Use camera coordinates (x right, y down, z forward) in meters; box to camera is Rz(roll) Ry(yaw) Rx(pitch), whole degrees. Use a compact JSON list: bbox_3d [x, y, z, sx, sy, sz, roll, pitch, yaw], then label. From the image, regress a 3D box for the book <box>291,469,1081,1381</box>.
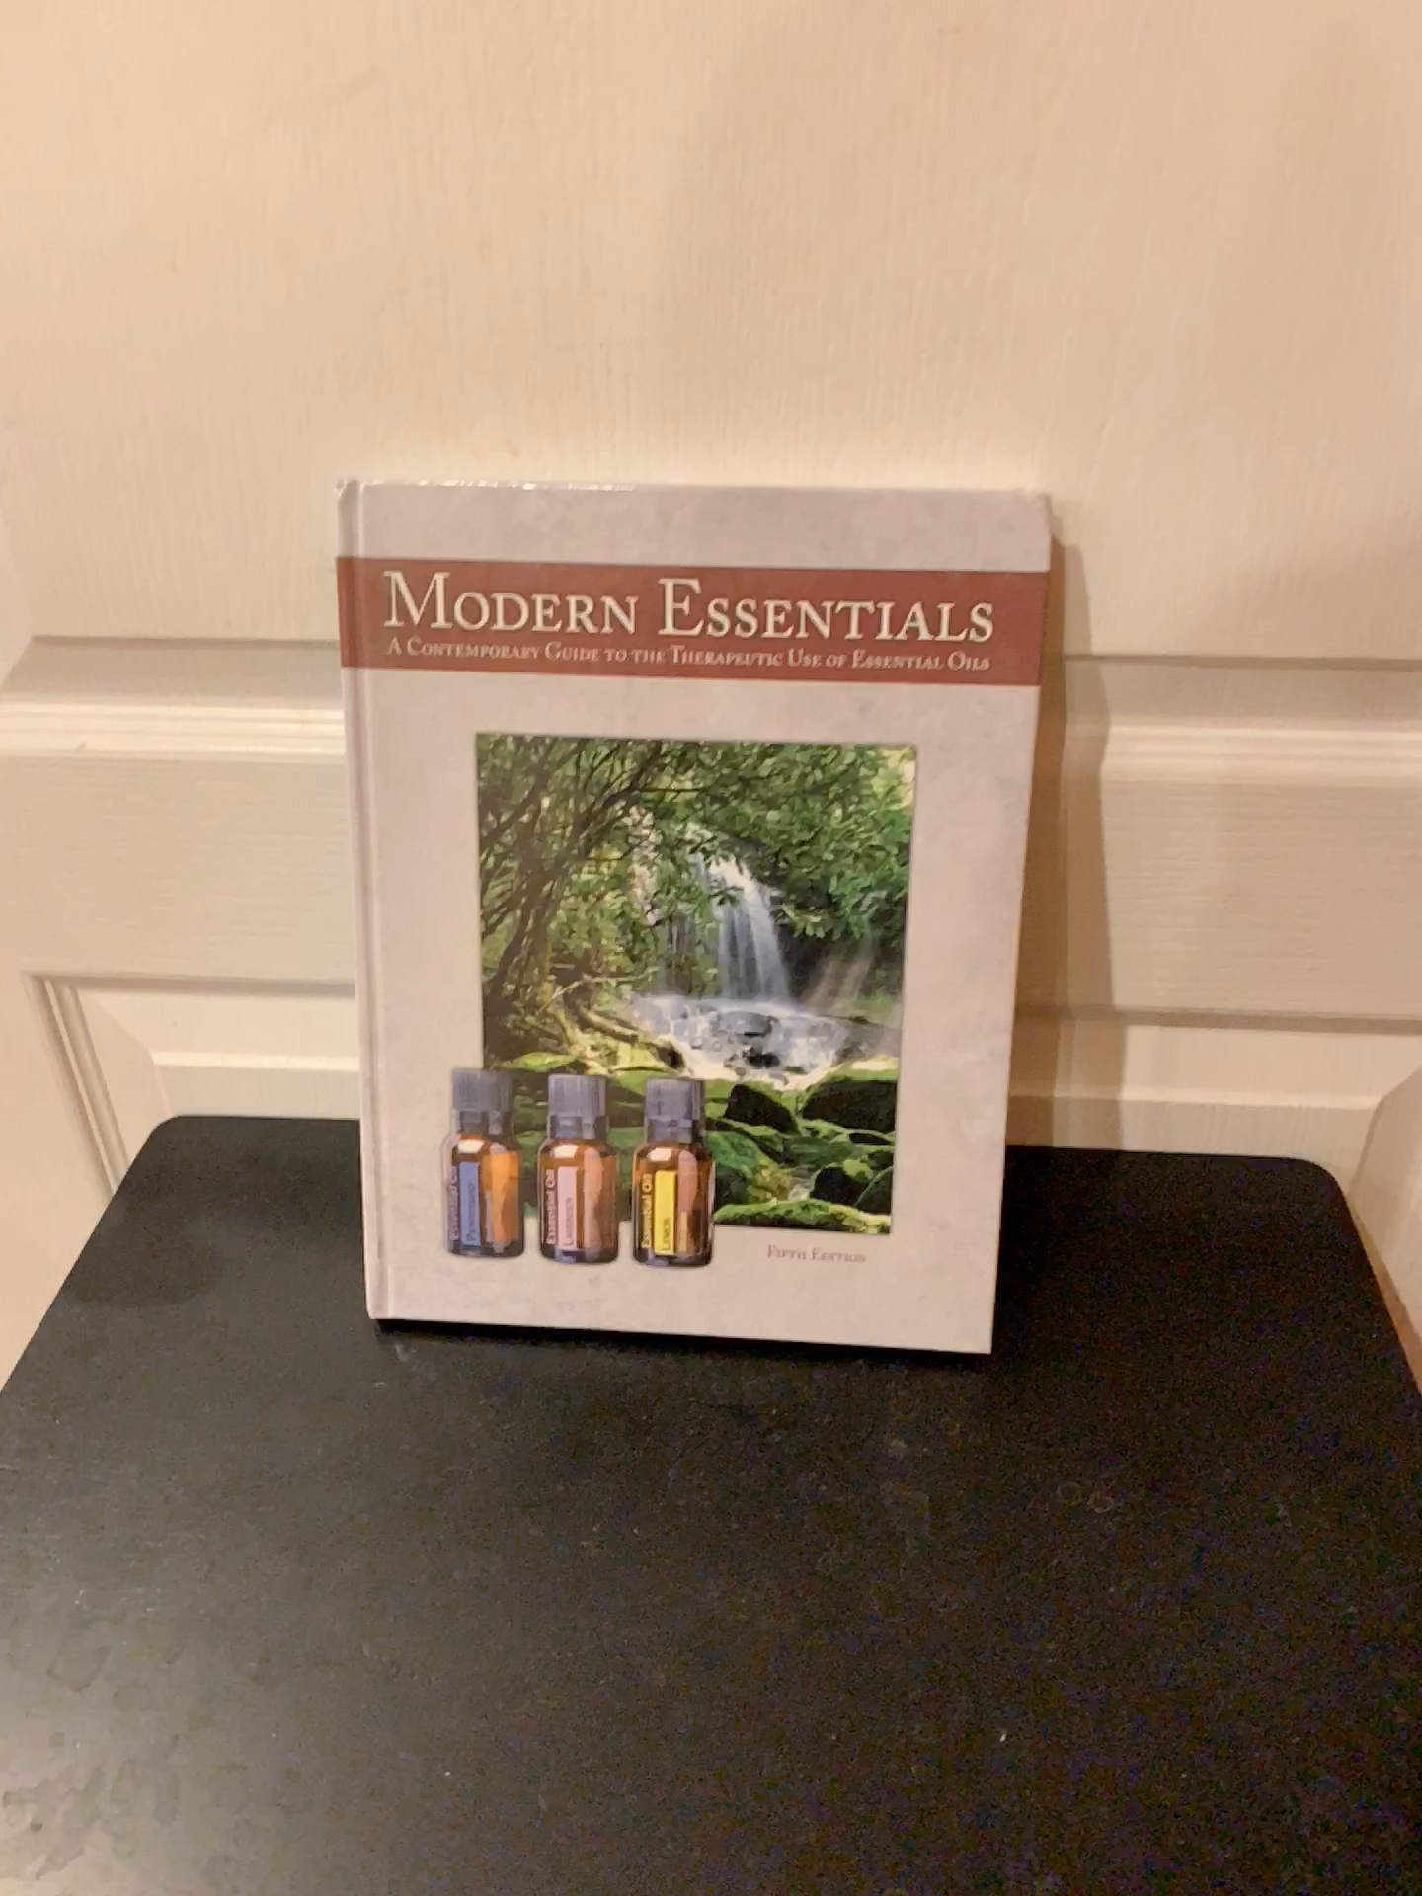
[{"bbox_3d":[-0.011,-0.002,0.476,0.230,0.289,0.030,2,15,4],"label":"book"}]
